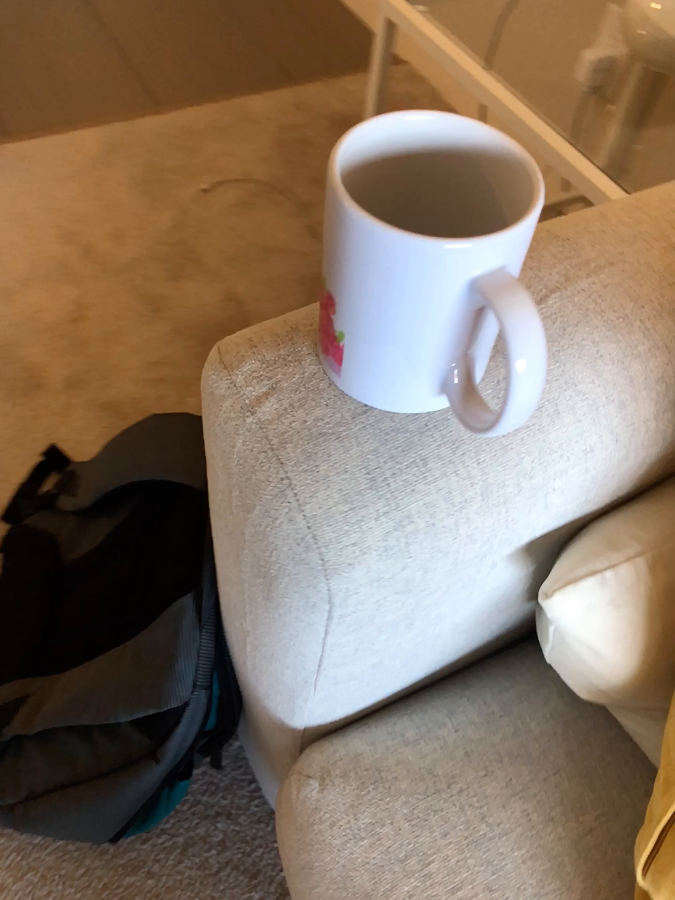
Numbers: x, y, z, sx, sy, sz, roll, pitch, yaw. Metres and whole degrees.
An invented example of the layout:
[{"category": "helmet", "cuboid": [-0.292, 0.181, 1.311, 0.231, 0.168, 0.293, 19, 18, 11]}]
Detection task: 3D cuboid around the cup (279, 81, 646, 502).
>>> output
[{"category": "cup", "cuboid": [0.036, -0.065, 0.304, 0.080, 0.100, 0.120, -17, 57, -17]}]
